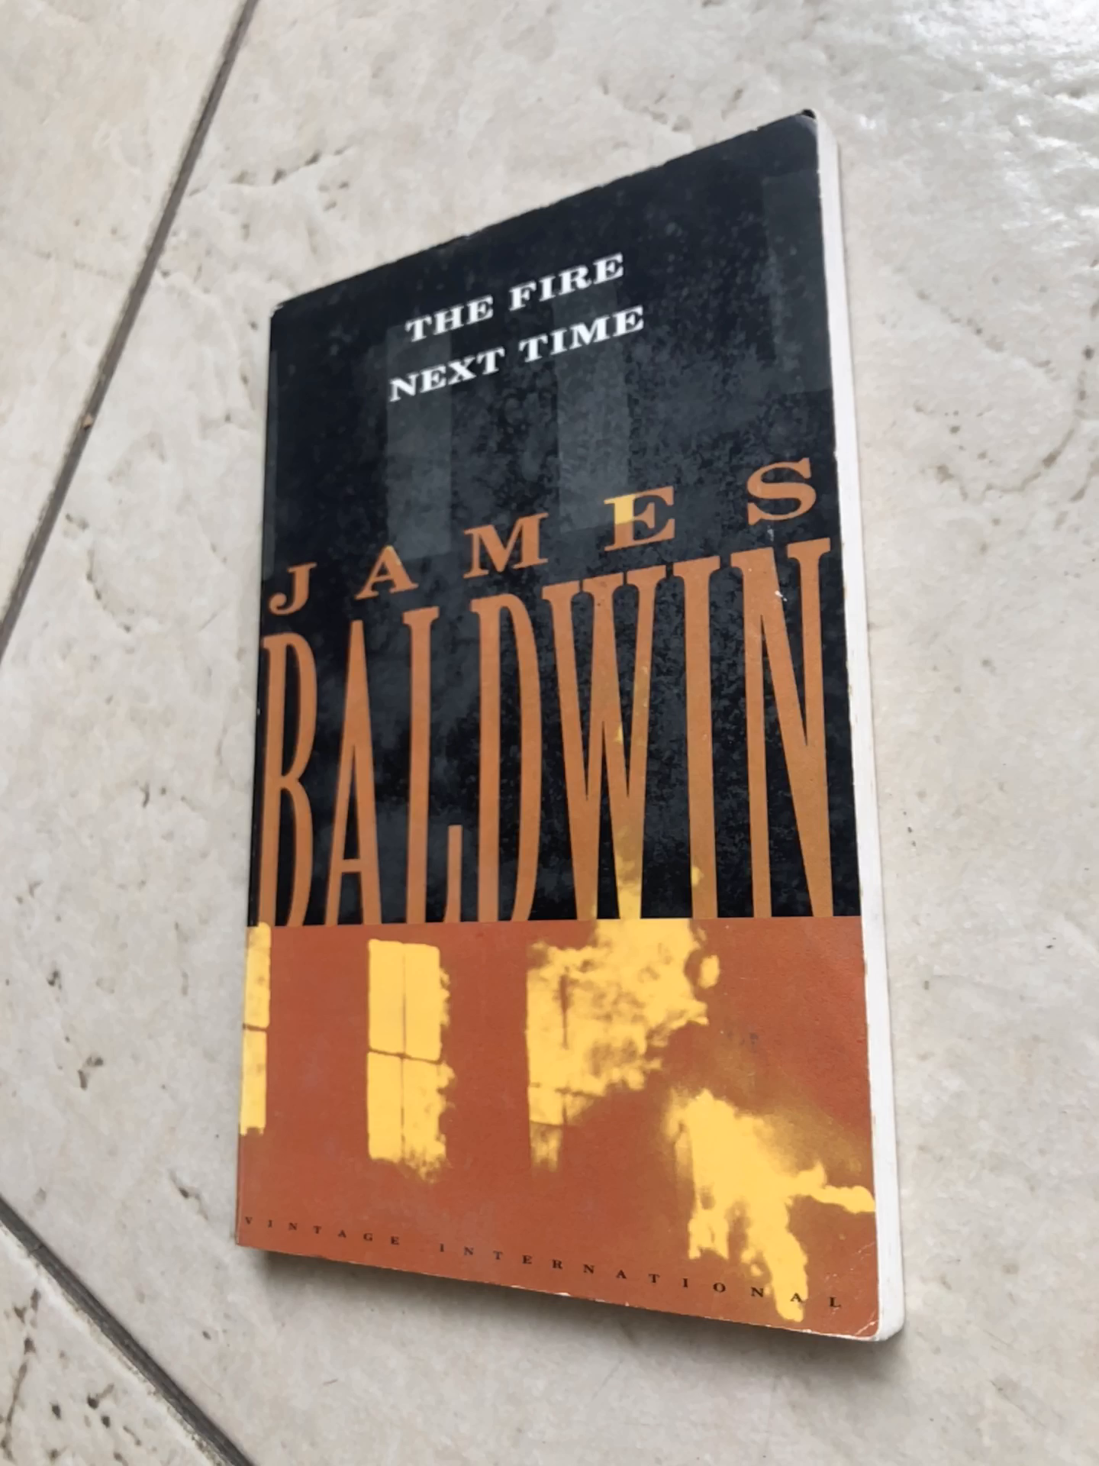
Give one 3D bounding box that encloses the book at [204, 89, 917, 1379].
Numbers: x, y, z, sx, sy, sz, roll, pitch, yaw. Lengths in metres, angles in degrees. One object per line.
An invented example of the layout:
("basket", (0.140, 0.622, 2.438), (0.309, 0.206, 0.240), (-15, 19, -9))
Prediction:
("book", (-0.006, -0.002, 0.228), (0.130, 0.016, 0.200), (-6, 77, 30))
